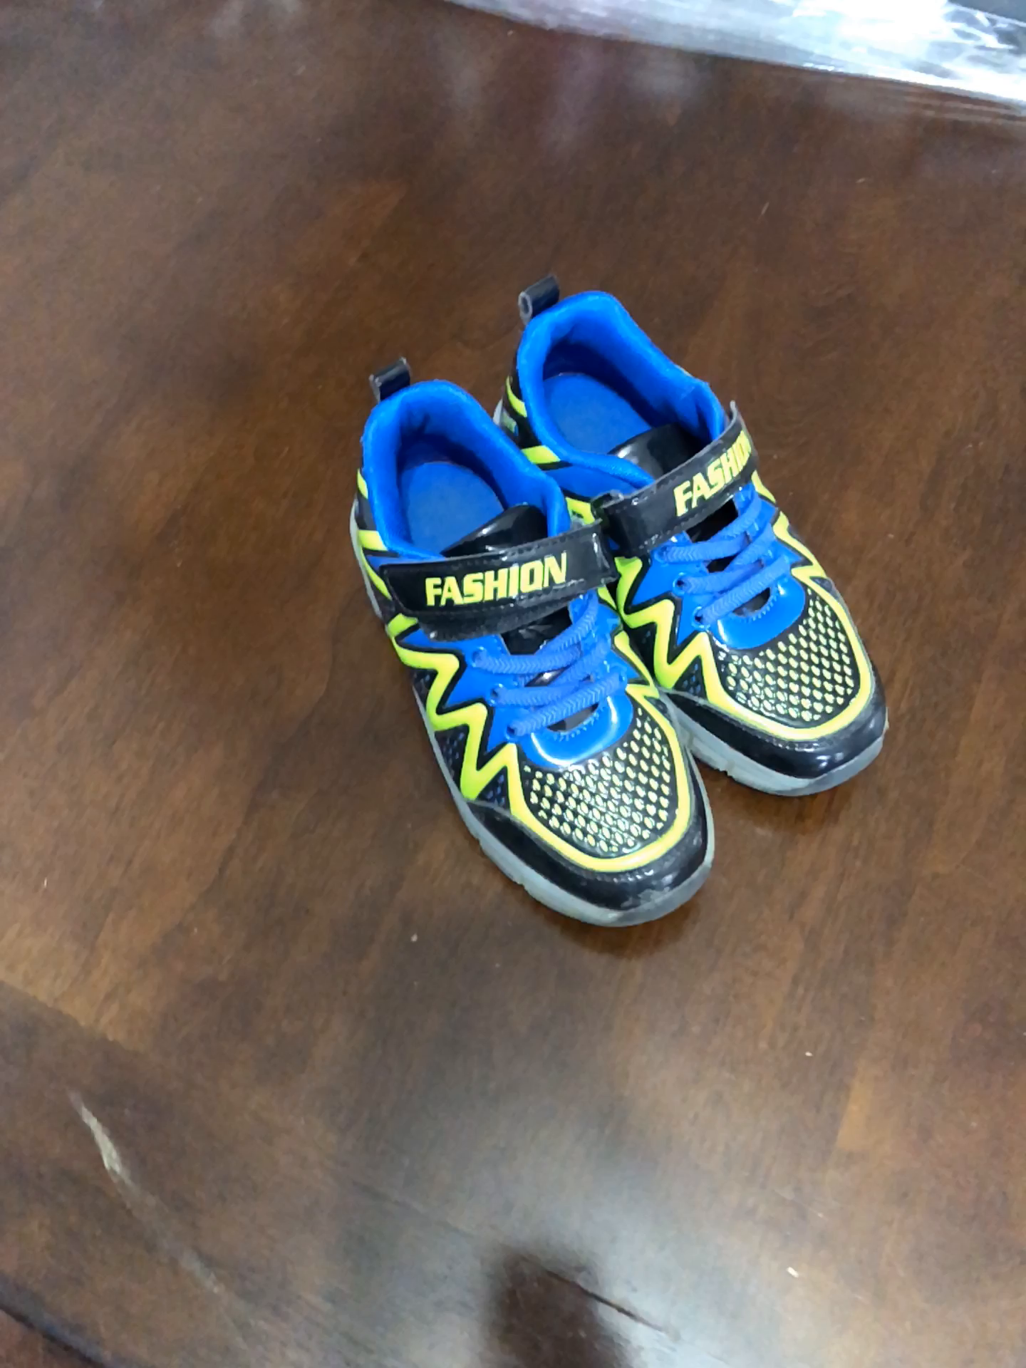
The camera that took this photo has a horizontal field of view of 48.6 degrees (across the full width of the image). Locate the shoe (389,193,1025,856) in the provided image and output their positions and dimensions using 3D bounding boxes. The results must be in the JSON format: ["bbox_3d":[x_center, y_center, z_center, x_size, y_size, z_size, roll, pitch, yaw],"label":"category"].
[{"bbox_3d":[0.064,-0.063,0.447,0.090,0.120,0.230,-37,67,-15],"label":"shoe"}]

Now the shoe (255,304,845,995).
[{"bbox_3d":[0.006,-0.013,0.428,0.100,0.120,0.210,-29,65,-11],"label":"shoe"}]
